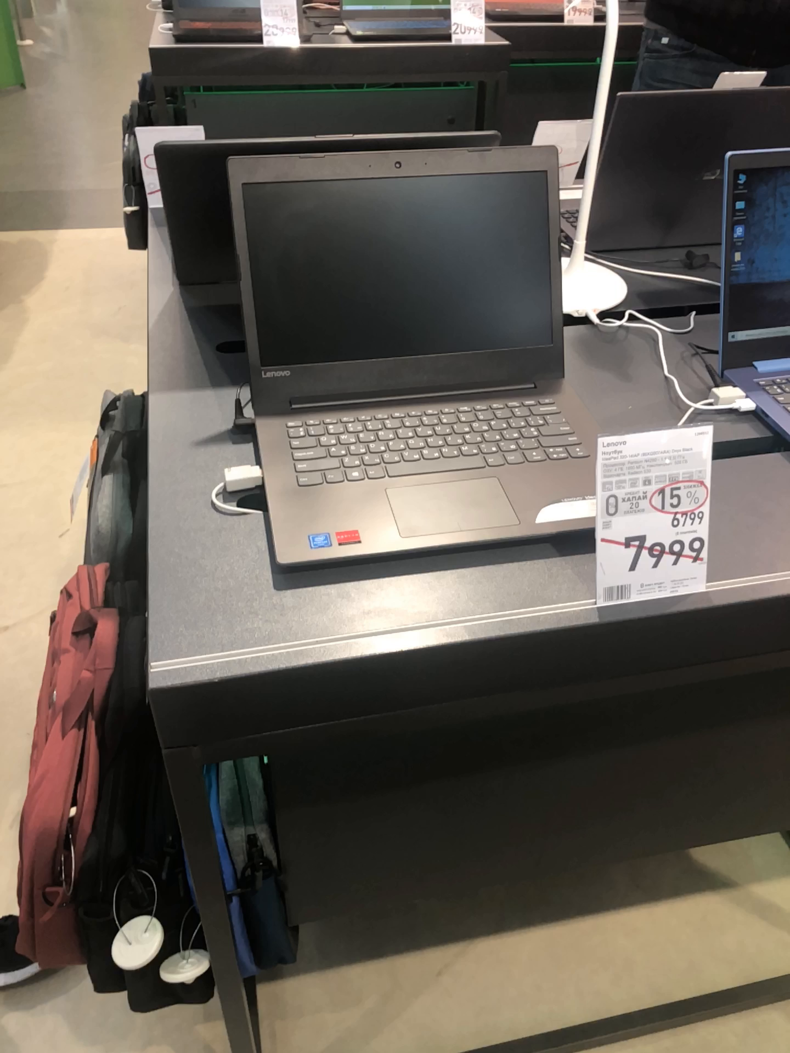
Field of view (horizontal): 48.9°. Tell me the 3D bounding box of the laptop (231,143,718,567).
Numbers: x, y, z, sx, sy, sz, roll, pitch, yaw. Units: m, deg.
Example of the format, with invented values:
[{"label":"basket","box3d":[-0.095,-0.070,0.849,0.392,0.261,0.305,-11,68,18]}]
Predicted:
[{"label":"laptop","box3d":[0.036,-0.183,0.801,0.330,0.205,0.362,-6,41,-10]}]
